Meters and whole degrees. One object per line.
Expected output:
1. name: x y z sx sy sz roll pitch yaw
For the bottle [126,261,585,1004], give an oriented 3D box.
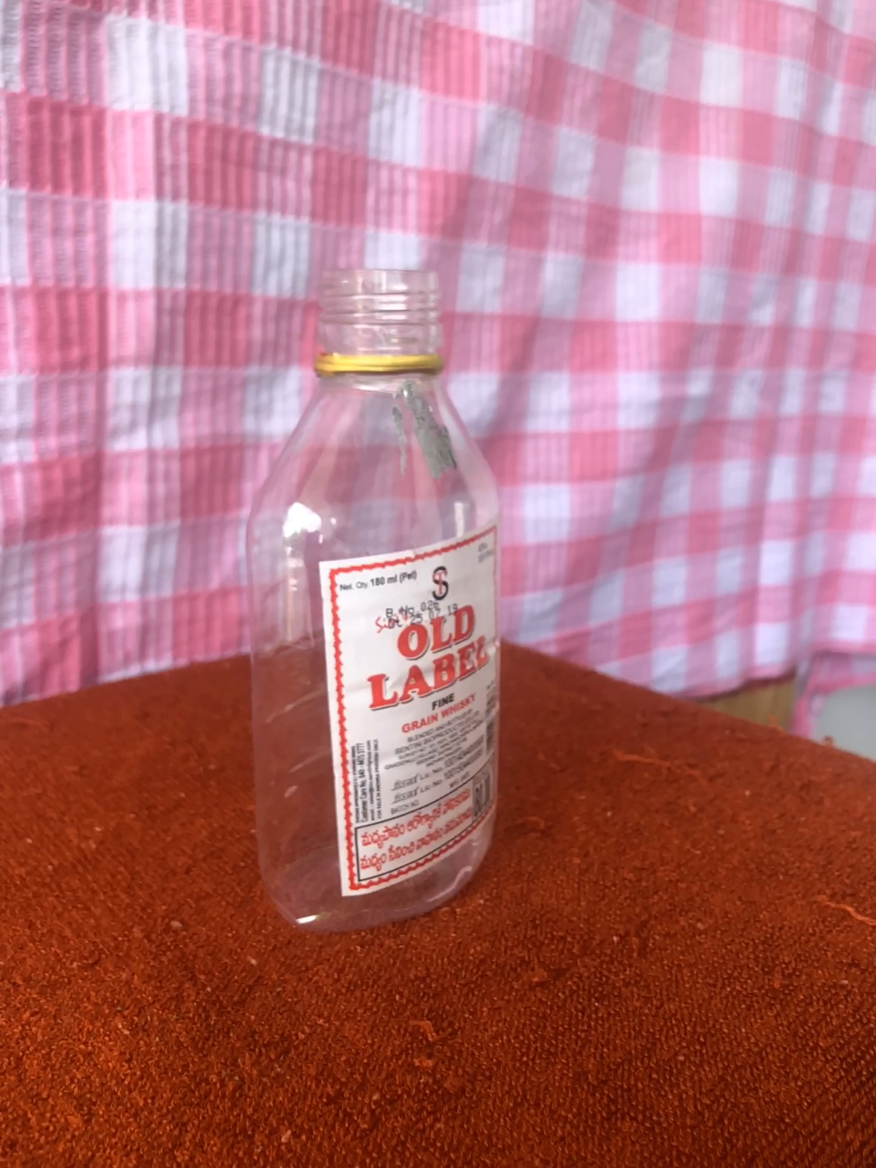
1. bottle: -0.018 0.004 0.205 0.070 0.130 0.050 -12 23 -41
